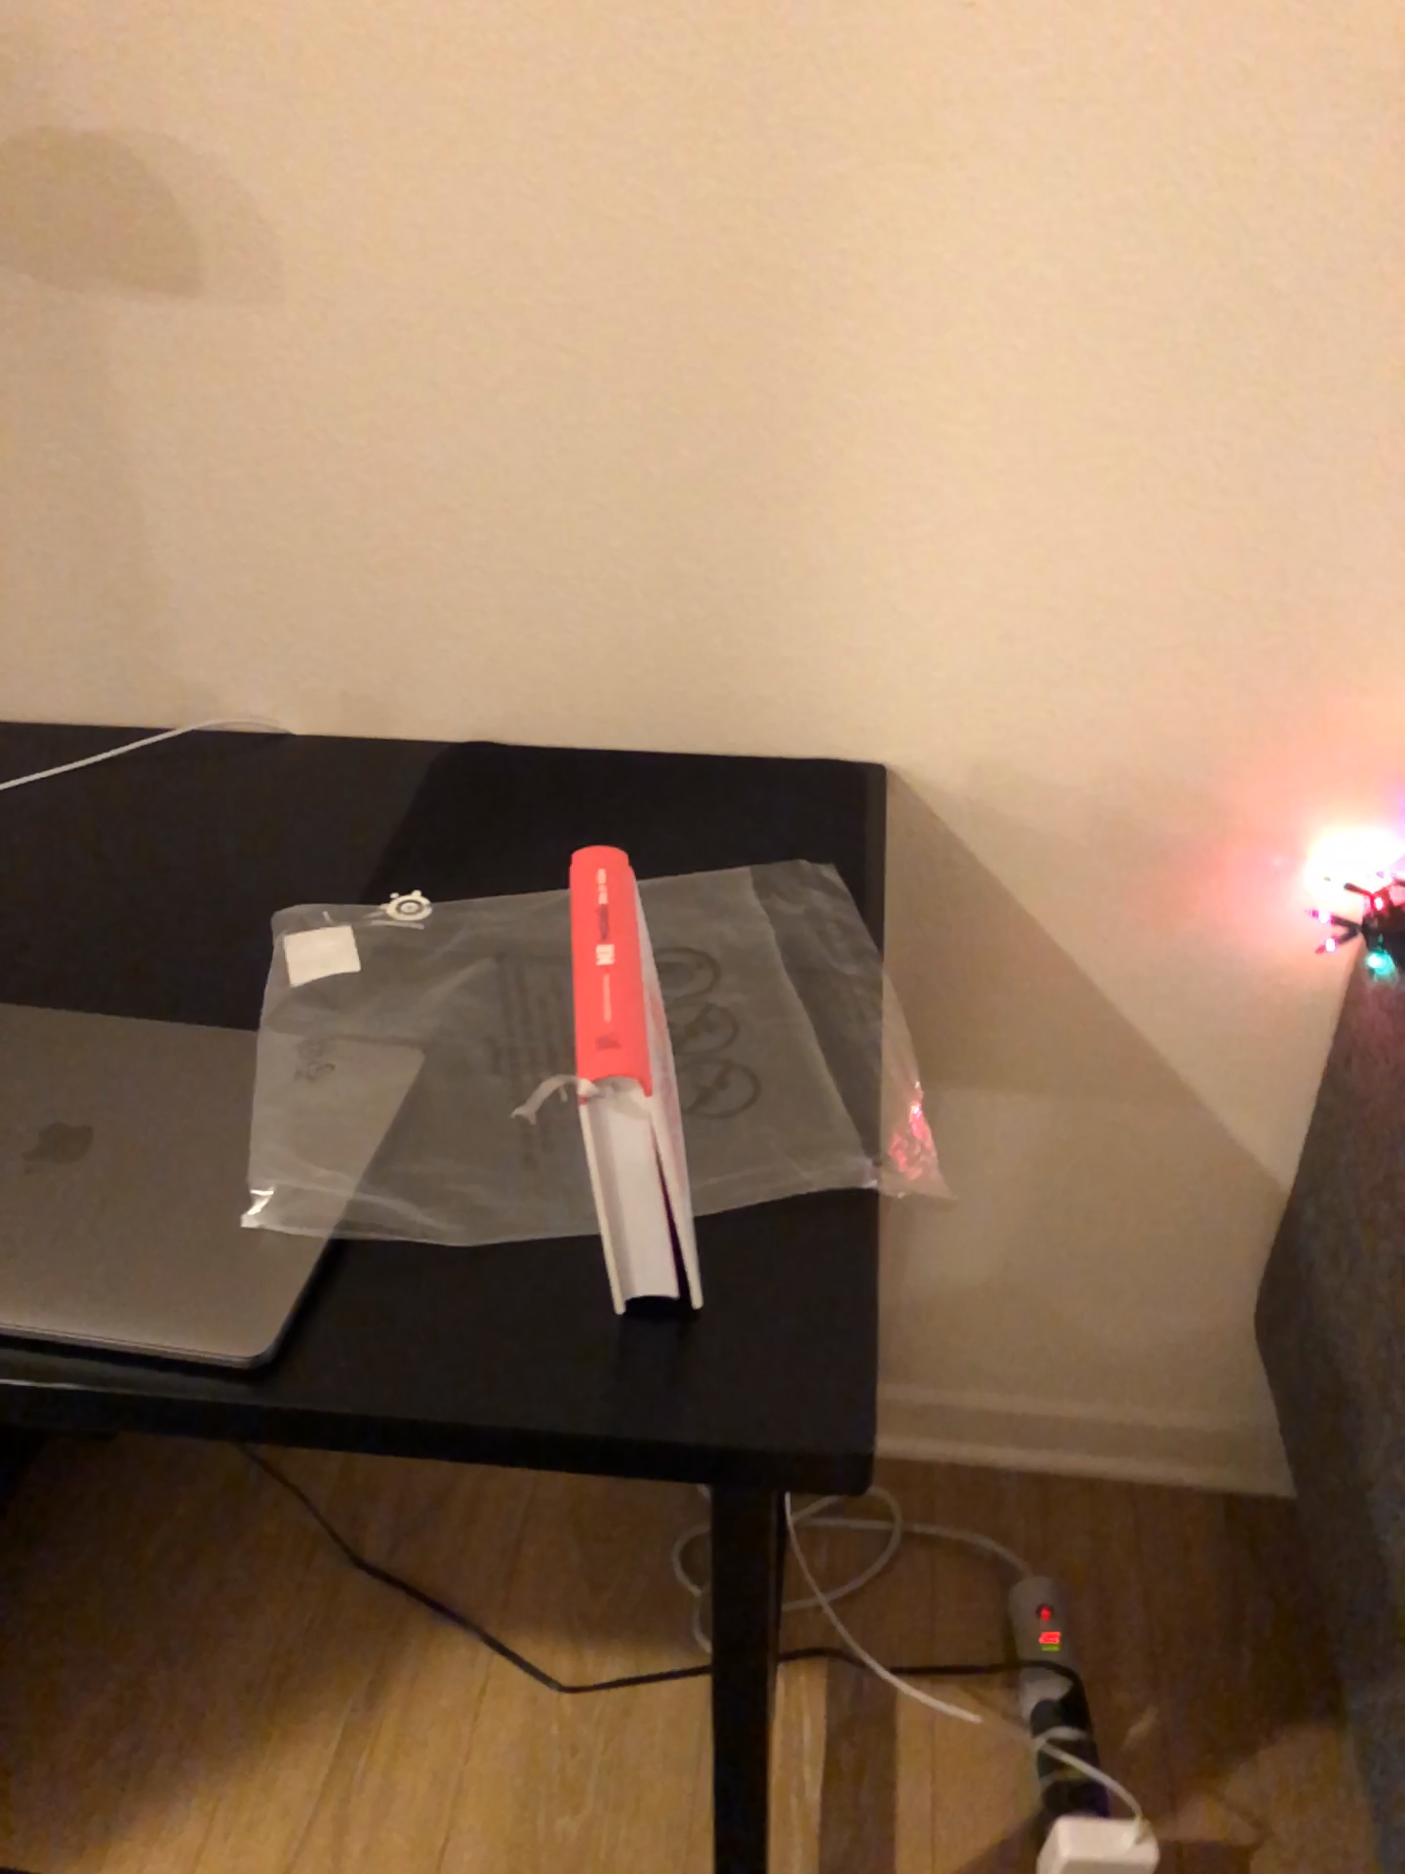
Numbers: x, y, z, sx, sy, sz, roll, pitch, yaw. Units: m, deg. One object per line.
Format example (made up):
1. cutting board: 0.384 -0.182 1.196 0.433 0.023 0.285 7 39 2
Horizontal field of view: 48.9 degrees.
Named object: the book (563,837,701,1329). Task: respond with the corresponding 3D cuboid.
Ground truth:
1. book: -0.037 0.061 0.726 0.050 0.129 0.201 -2 34 -5
